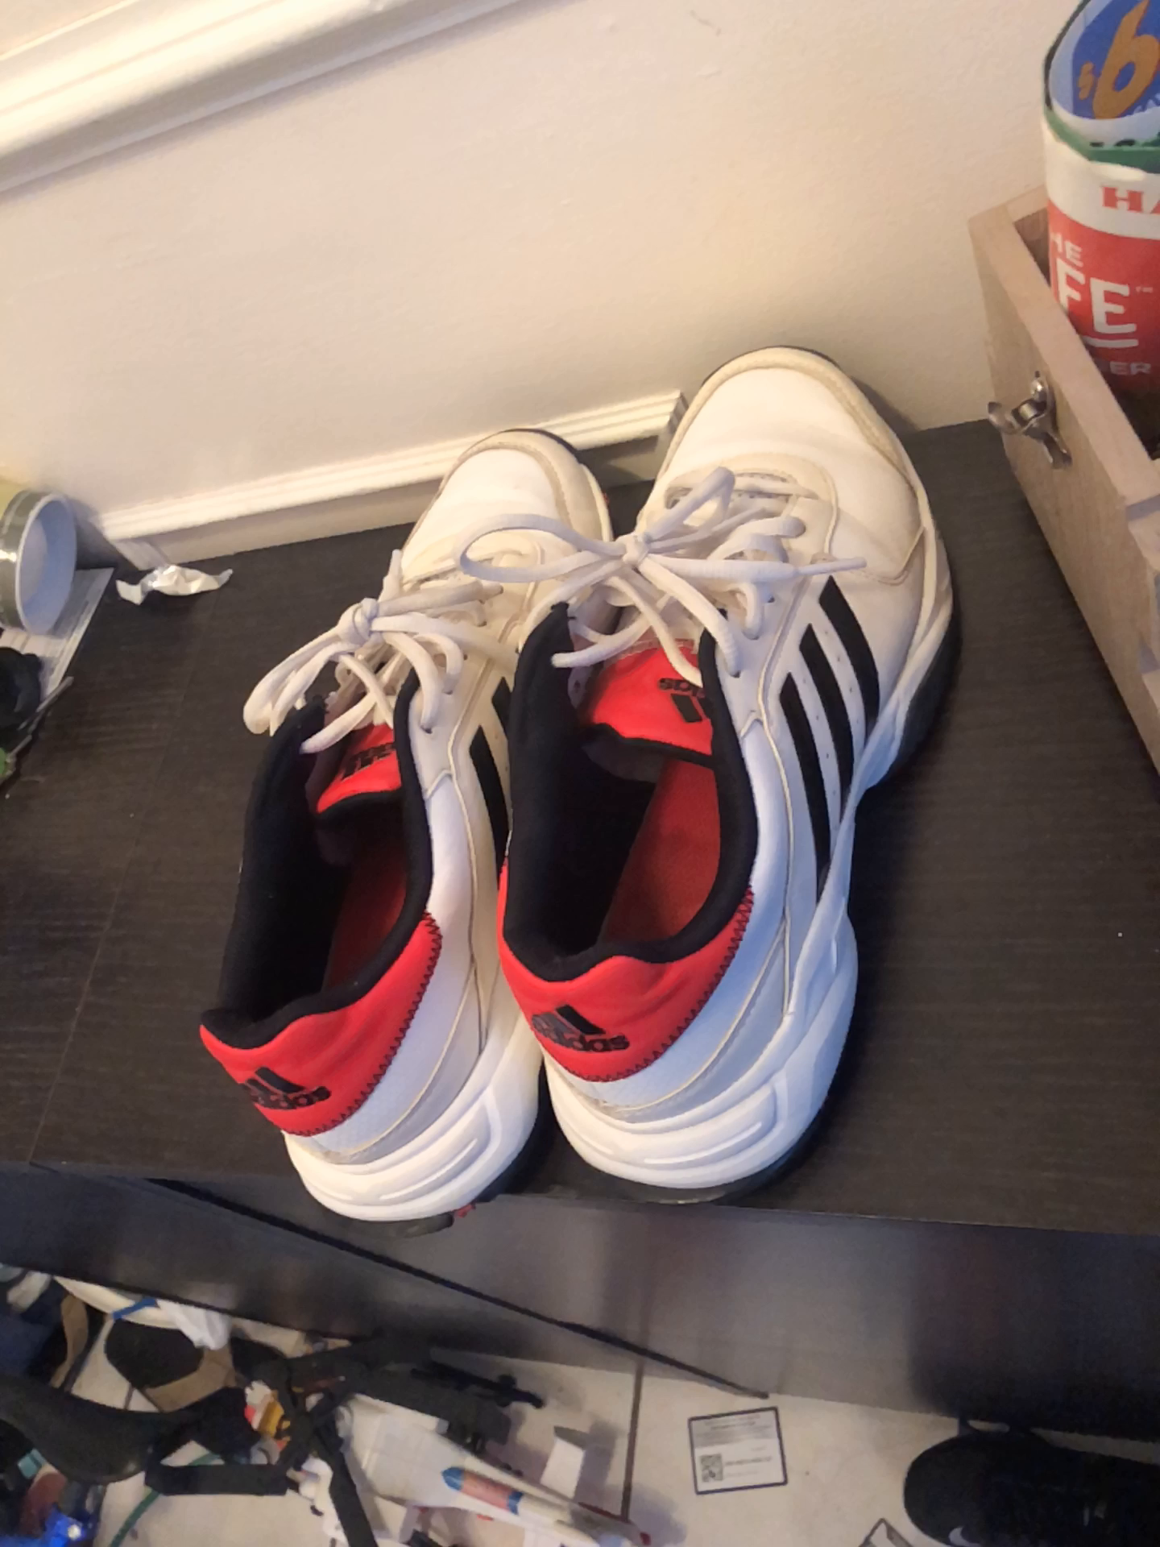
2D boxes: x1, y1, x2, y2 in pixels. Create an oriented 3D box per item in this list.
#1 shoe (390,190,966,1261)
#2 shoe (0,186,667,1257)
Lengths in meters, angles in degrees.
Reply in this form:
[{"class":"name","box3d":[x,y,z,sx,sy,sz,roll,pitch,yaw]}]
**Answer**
[{"class":"shoe","box3d":[0.050,-0.026,0.402,0.110,0.099,0.311,-3,59,26]},{"class":"shoe","box3d":[-0.057,-0.024,0.404,0.110,0.109,0.311,-6,58,24]}]
